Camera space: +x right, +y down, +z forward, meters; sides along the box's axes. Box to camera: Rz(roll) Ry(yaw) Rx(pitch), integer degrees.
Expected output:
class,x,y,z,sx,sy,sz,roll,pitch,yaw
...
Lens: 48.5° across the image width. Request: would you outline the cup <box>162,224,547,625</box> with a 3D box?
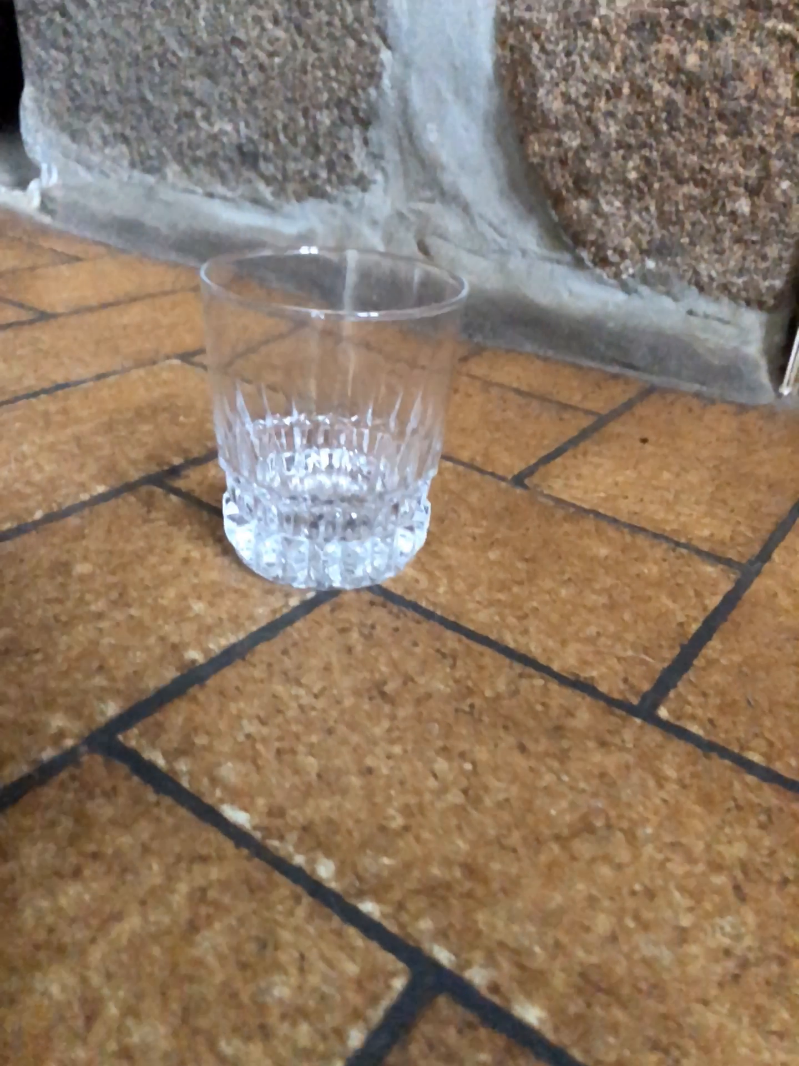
class,x,y,z,sx,sy,sz,roll,pitch,yaw
cup,-0.018,-0.040,0.277,0.080,0.089,0.080,4,29,-2
